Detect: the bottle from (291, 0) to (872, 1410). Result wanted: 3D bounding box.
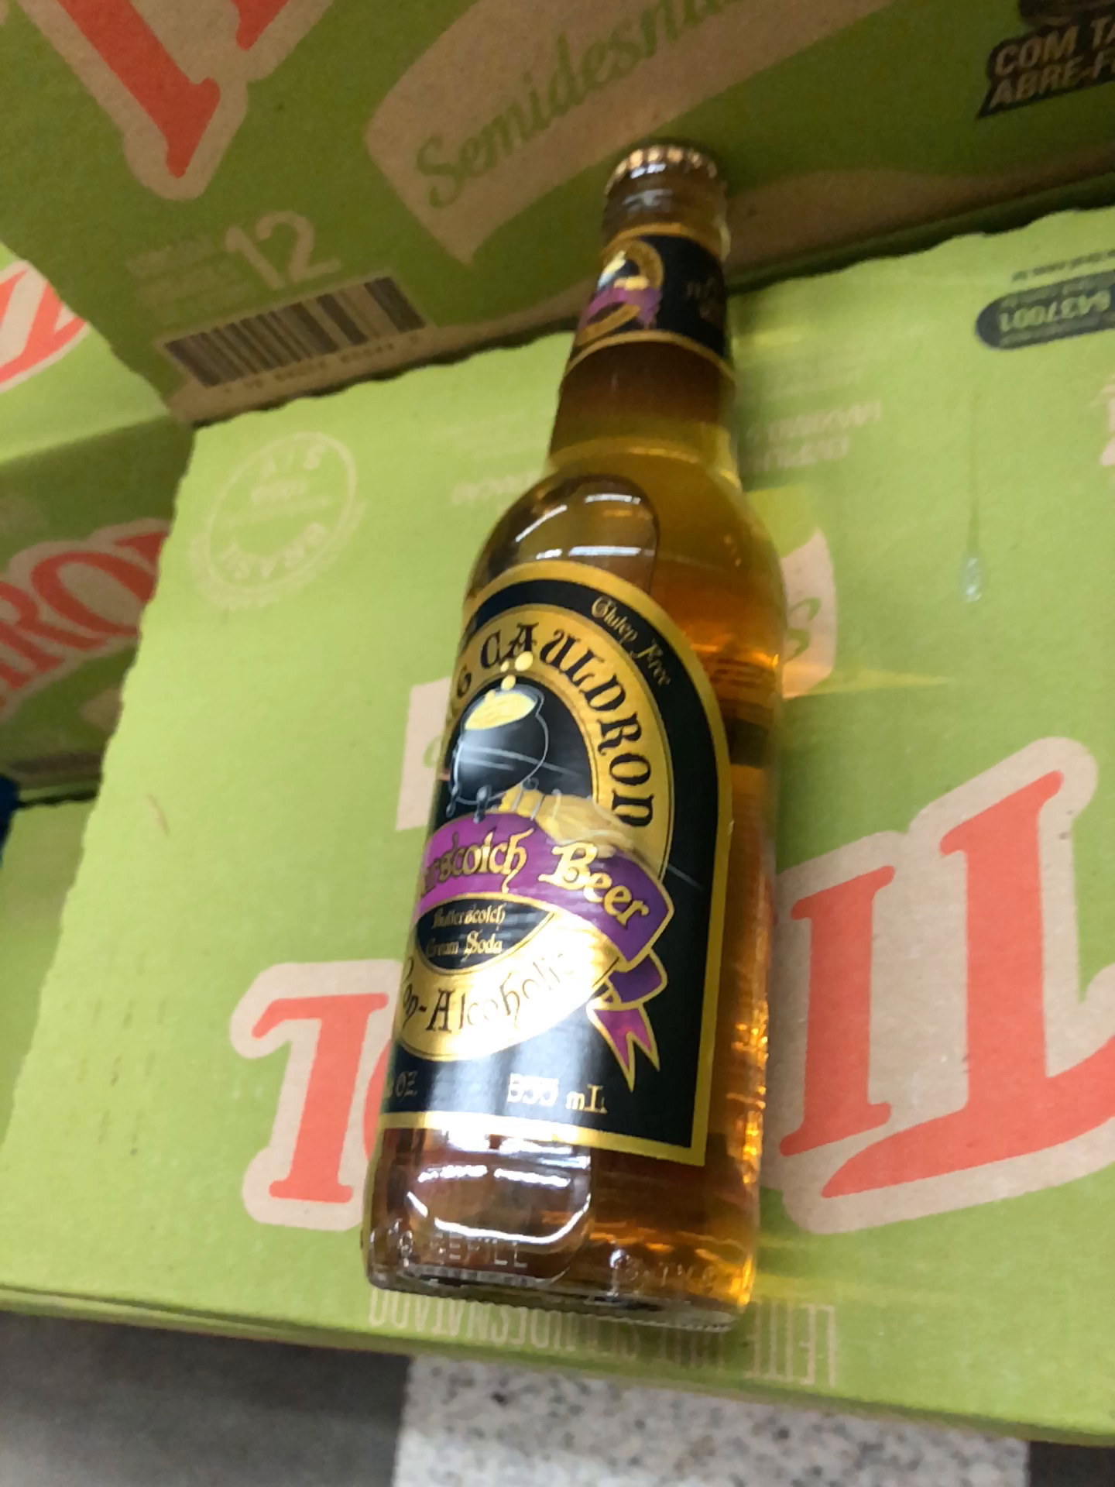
[{"bbox_3d":[0.018,-0.028,0.233,0.070,0.050,0.261,-5,64,24],"label":"bottle"}]
